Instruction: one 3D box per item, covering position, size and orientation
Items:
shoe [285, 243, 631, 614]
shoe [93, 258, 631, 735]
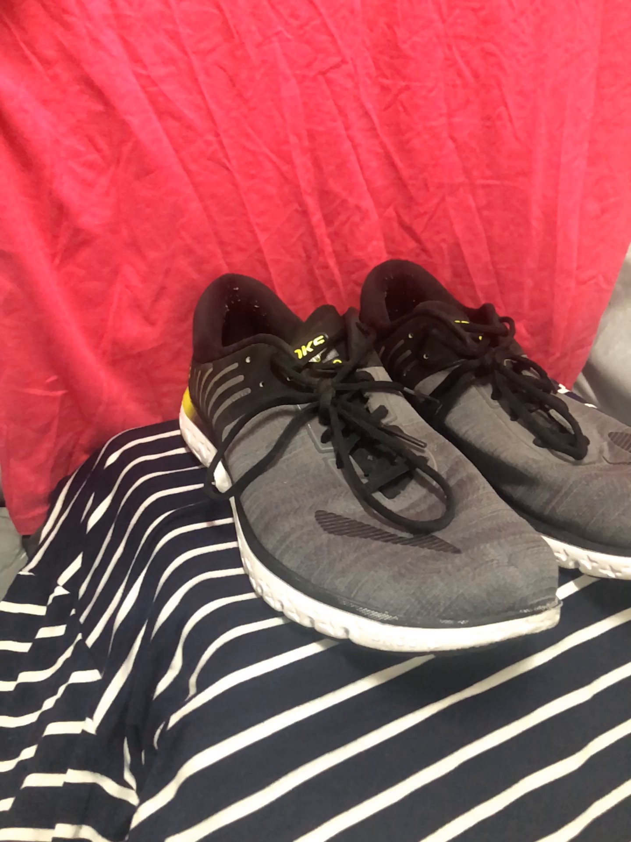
[{"bbox_3d":[0.094,-0.027,0.382,0.104,0.079,0.282,-13,29,-26],"label":"shoe"},{"bbox_3d":[-0.012,-0.005,0.335,0.103,0.079,0.292,-14,29,-27],"label":"shoe"}]
